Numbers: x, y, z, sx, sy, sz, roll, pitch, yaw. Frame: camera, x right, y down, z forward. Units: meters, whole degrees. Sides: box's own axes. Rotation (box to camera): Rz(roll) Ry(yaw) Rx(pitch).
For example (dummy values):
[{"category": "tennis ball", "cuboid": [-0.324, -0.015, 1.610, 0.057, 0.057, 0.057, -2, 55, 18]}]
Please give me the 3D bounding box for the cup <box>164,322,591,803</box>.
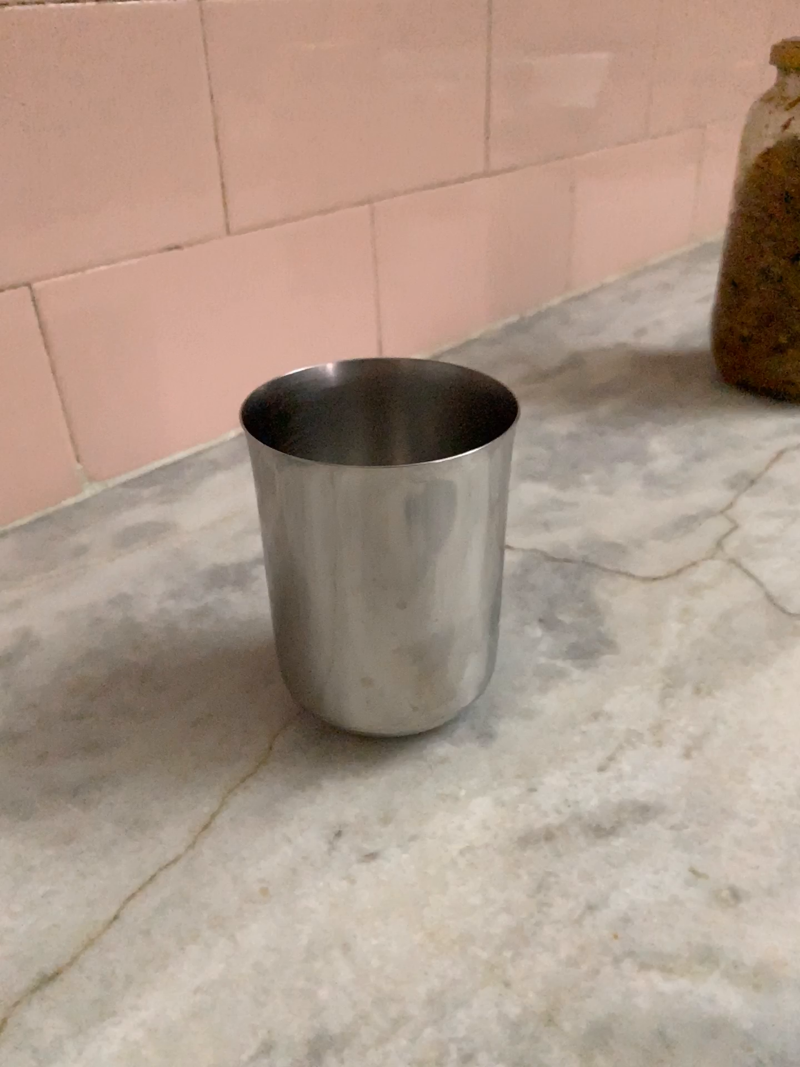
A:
[{"category": "cup", "cuboid": [-0.007, 0.002, 0.239, 0.080, 0.090, 0.080, -2, 31, 1]}]
